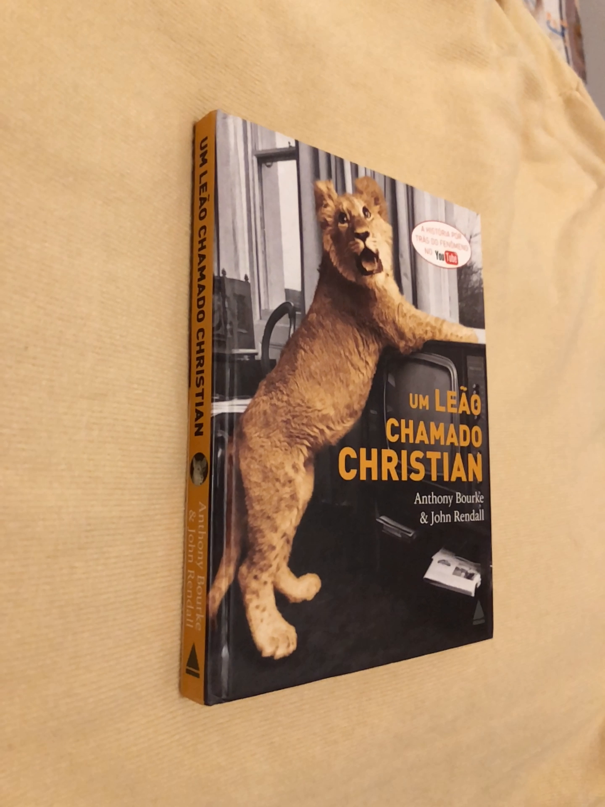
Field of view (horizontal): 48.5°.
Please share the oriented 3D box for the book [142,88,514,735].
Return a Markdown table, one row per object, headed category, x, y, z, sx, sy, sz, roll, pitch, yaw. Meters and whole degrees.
| category | x | y | z | sx | sy | sz | roll | pitch | yaw |
| --- | --- | --- | --- | --- | --- | --- | --- | --- | --- |
| book | 0.015 | 0.002 | 0.262 | 0.151 | 0.030 | 0.200 | 5 | 79 | -36 |
